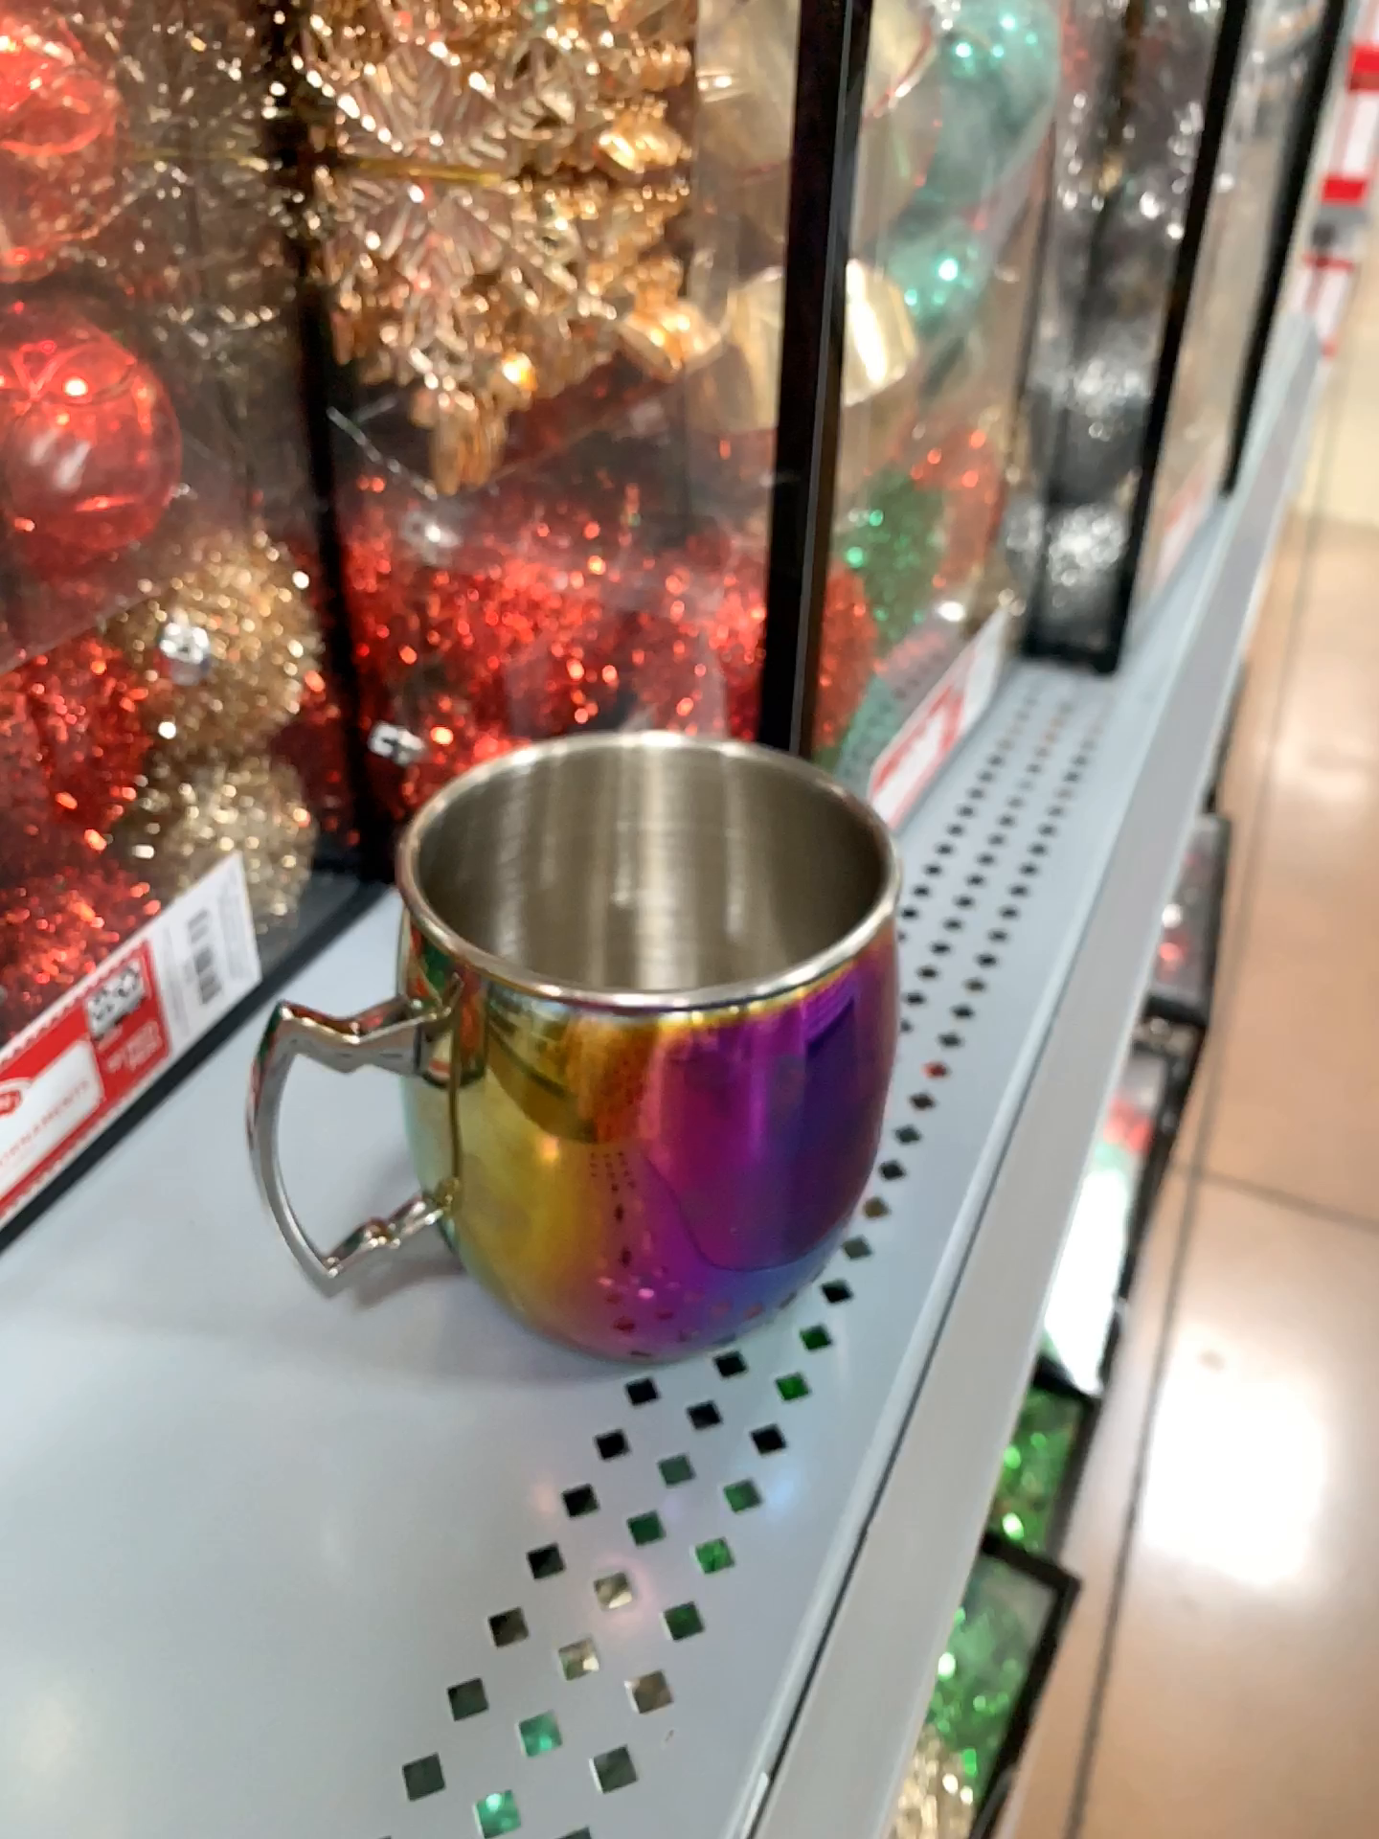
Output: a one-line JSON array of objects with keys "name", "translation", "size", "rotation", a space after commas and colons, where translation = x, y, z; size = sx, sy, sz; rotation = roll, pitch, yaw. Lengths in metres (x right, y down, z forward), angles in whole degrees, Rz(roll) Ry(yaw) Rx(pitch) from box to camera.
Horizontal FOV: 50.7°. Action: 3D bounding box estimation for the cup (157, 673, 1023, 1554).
[{"name": "cup", "translation": [-0.019, 0.025, 0.259], "size": [0.110, 0.090, 0.087], "rotation": [-19, 40, -28]}]
